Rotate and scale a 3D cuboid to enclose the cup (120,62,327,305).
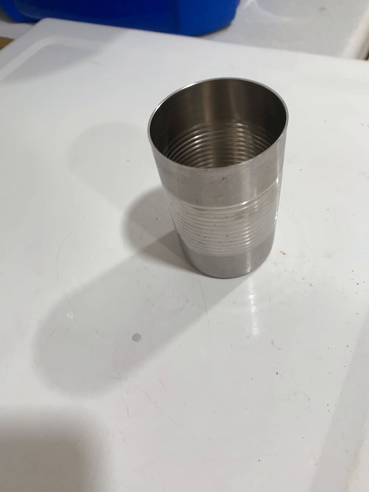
[{"bbox_3d":[0.022,-0.032,0.220,0.070,0.095,0.070,-5,54,6],"label":"cup"}]
